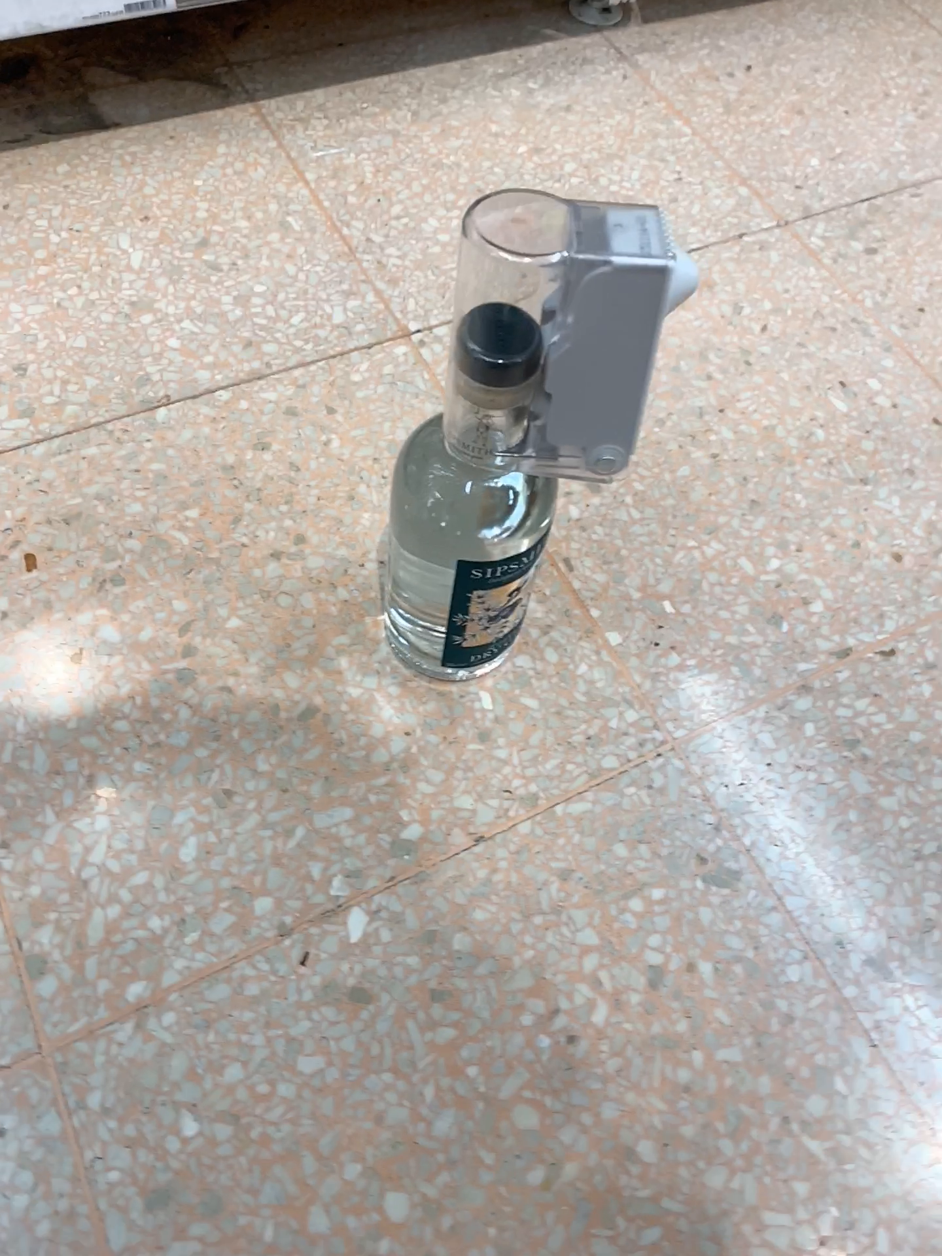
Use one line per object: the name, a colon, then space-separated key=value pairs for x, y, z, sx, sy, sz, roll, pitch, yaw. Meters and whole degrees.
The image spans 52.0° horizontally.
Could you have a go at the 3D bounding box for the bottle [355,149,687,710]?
bottle: x=0.004 y=-0.059 z=0.385 sx=0.074 sy=0.222 sz=0.069 roll=3 pitch=59 yaw=-5
